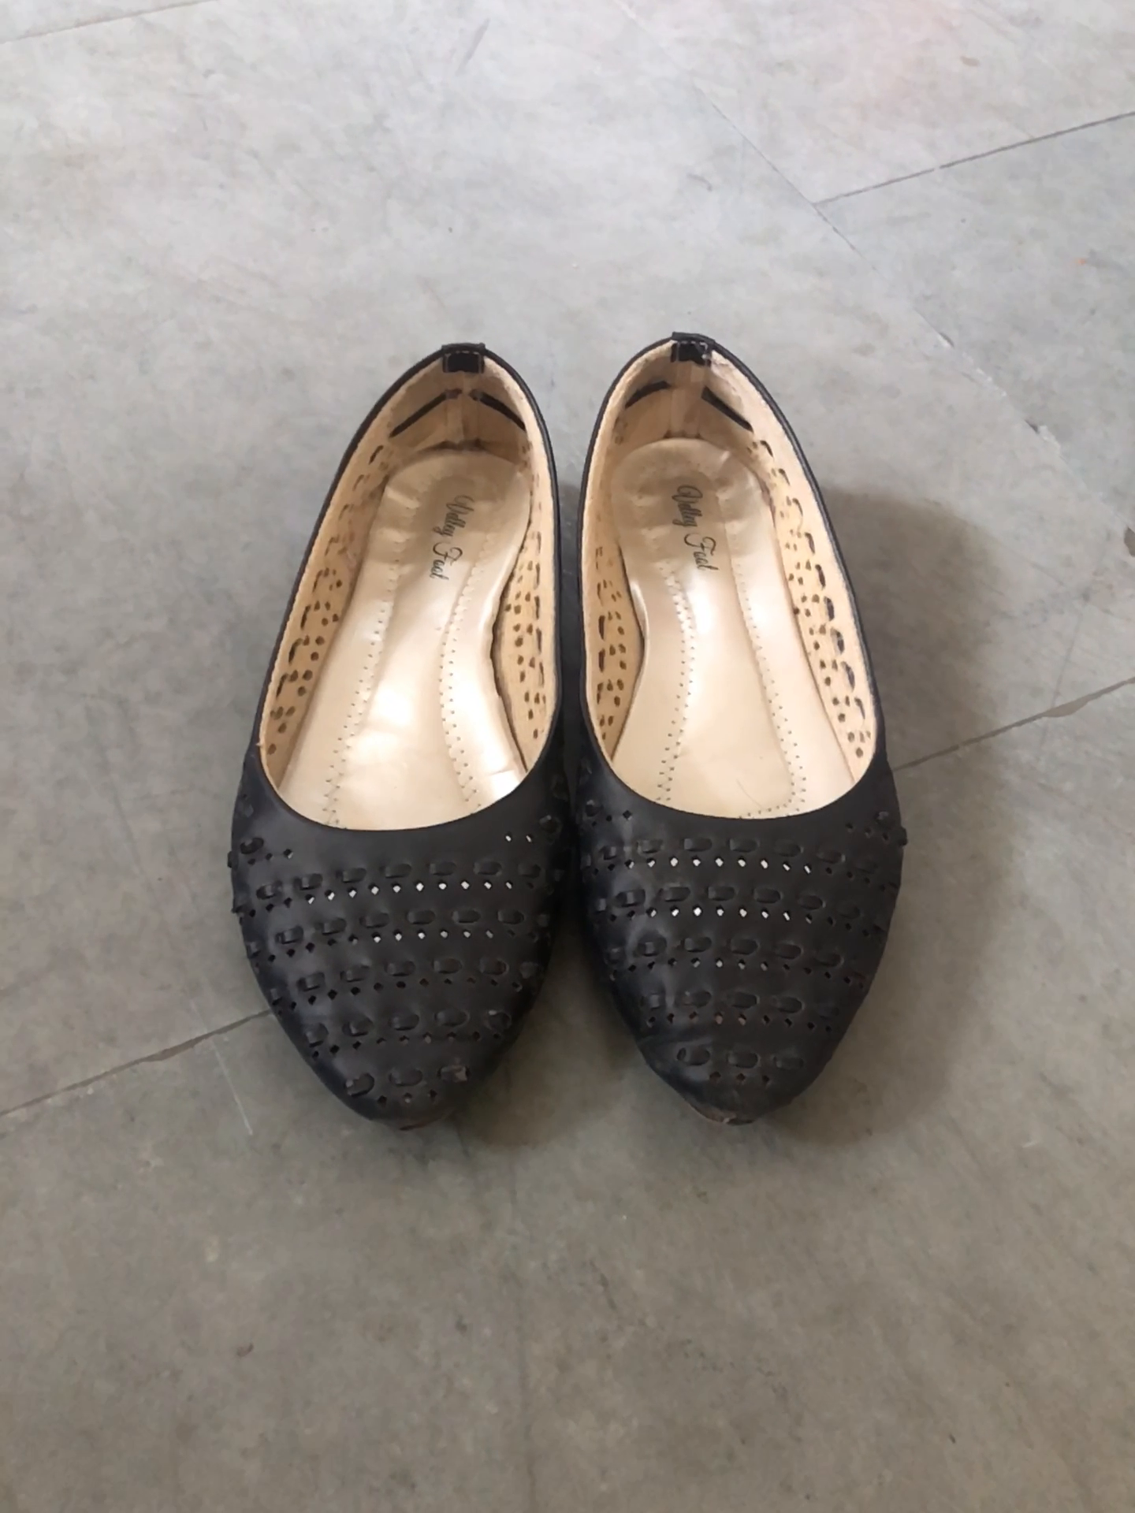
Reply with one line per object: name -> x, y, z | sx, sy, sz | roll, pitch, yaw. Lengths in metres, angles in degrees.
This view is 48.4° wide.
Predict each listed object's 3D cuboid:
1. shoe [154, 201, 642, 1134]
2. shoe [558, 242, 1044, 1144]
shoe -> -0.034, -0.039, 0.357 | 0.100, 0.070, 0.271 | 0, 60, 1
shoe -> 0.049, -0.038, 0.370 | 0.100, 0.070, 0.281 | 0, 55, 1
